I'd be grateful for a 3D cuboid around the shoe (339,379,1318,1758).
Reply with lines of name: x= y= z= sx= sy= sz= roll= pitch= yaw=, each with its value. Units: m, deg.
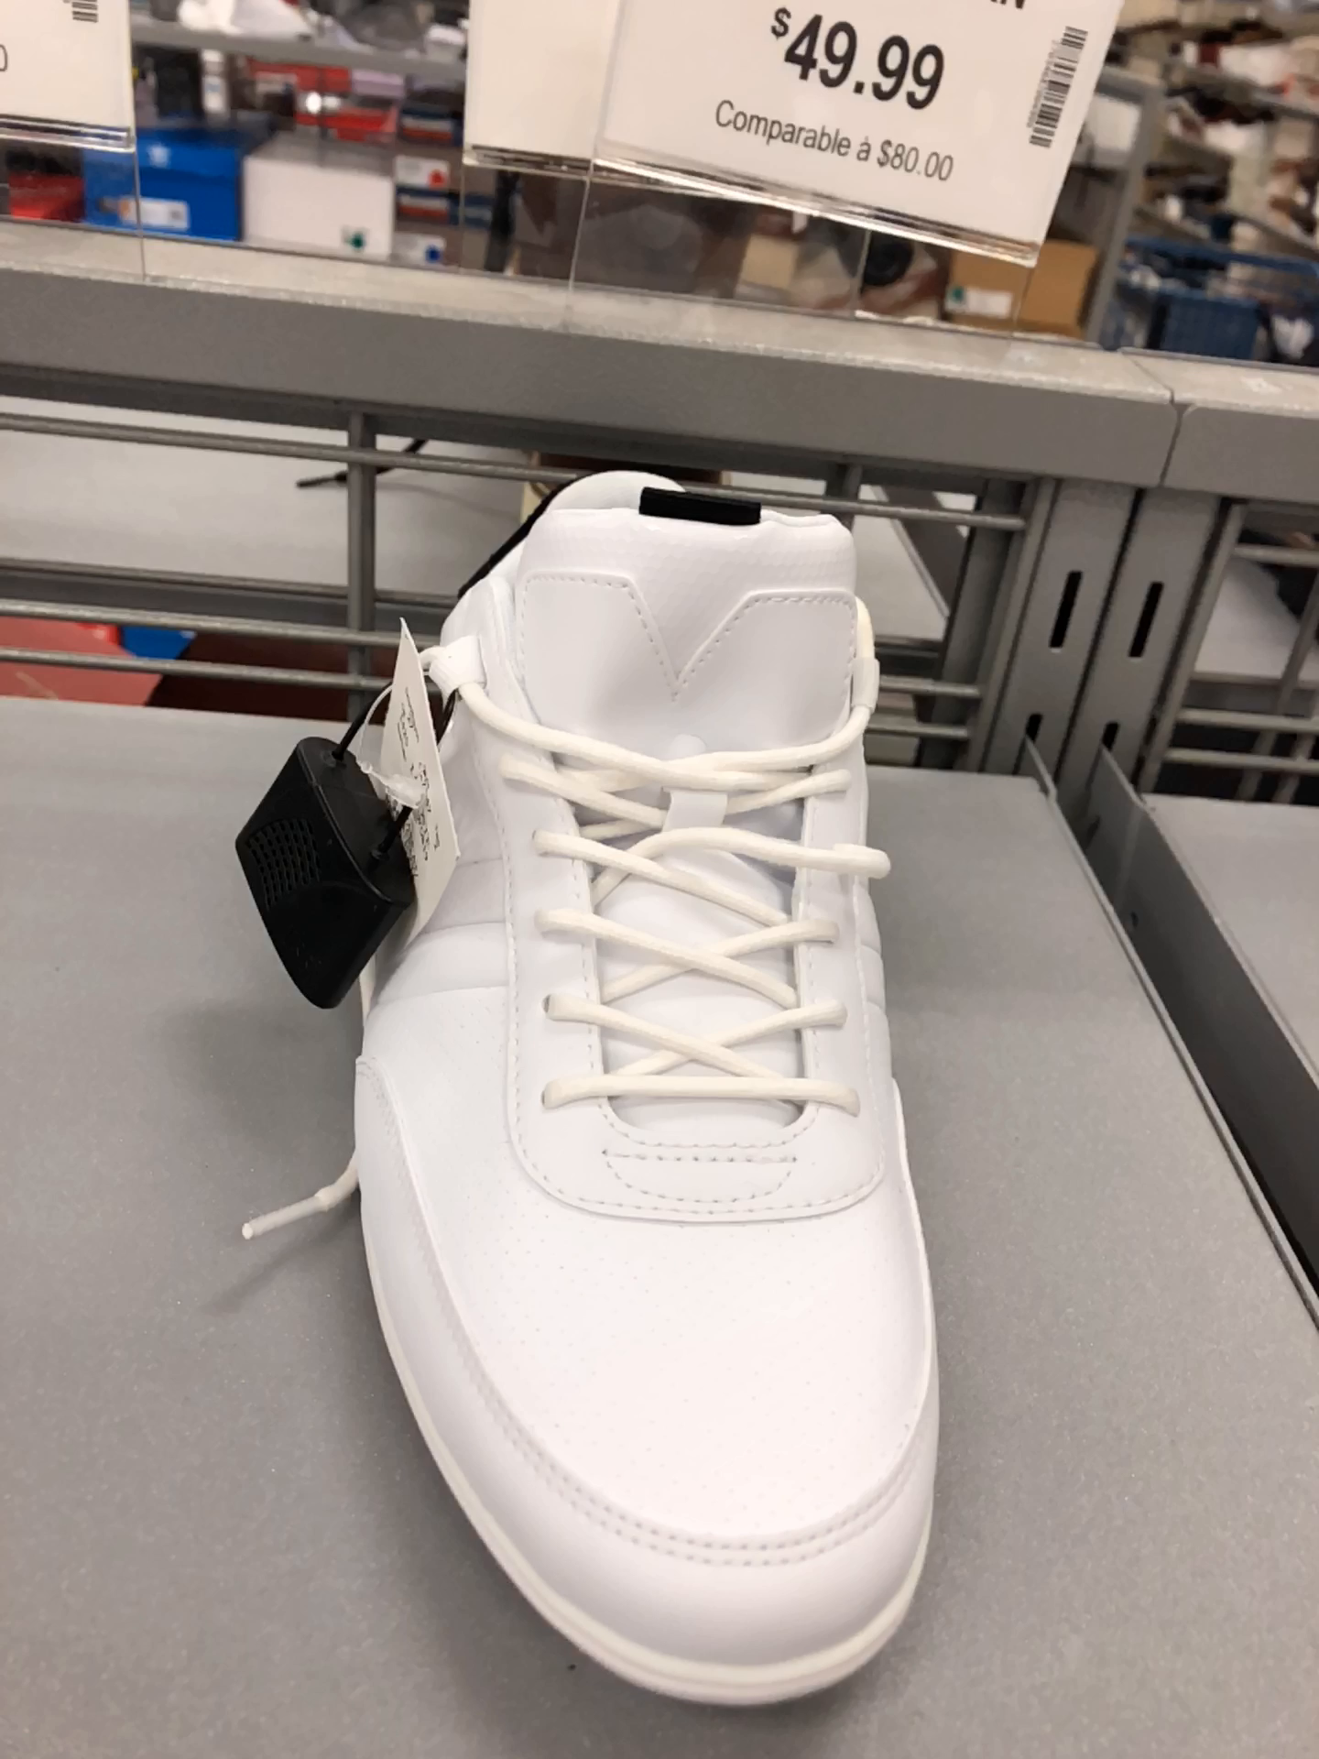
shoe: x=0.000 y=0.003 z=0.288 sx=0.110 sy=0.119 sz=0.272 roll=2 pitch=32 yaw=-10
